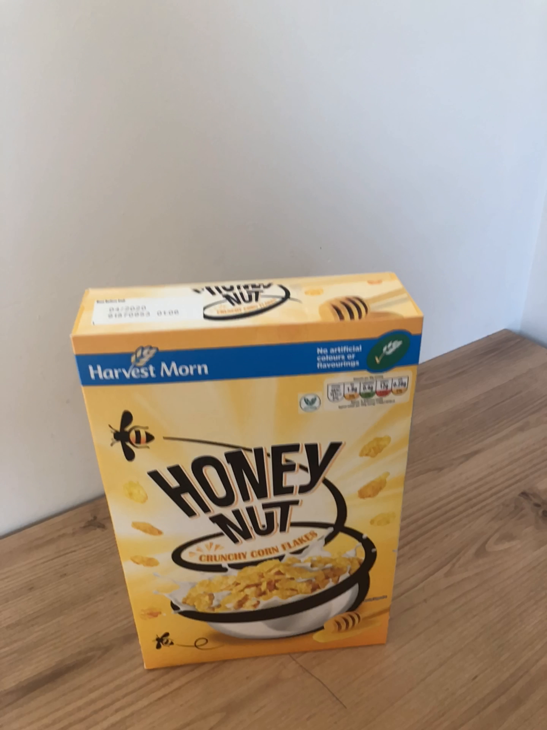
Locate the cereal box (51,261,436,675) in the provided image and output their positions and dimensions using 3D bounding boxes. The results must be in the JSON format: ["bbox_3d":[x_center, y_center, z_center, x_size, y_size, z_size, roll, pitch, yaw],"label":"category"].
[{"bbox_3d":[-0.012,0.087,0.416,0.200,0.298,0.060,-4,31,-4],"label":"cereal box"}]
